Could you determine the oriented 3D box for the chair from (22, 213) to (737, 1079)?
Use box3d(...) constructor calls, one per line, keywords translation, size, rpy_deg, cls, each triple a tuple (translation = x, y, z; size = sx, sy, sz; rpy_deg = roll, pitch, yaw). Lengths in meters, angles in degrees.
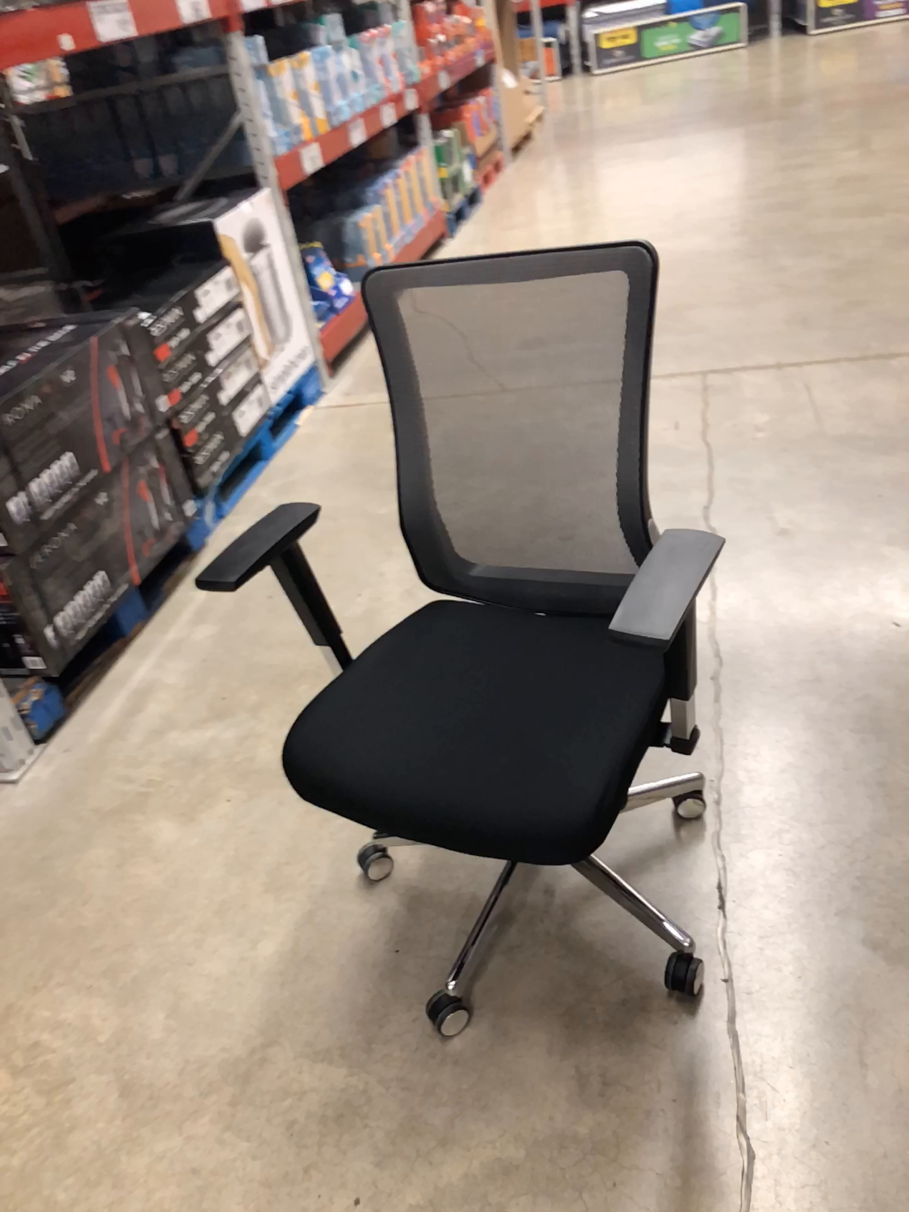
box3d(translation=(0.036, 0.044, 1.522), size=(0.691, 0.987, 0.712), rpy_deg=(0, 33, 19), cls="chair")
